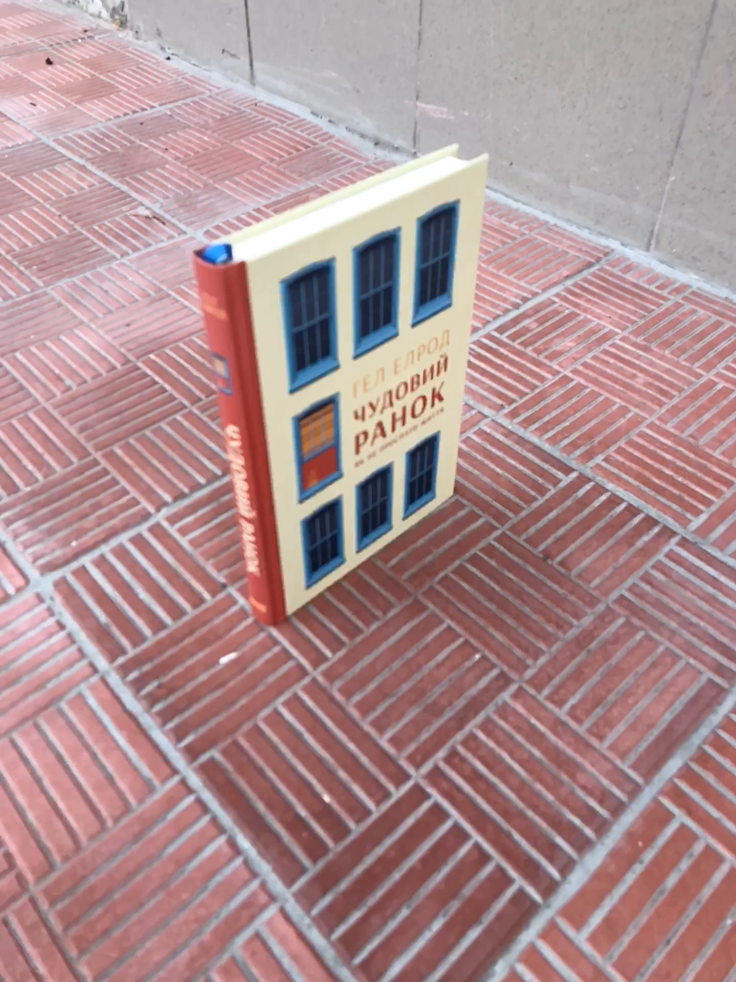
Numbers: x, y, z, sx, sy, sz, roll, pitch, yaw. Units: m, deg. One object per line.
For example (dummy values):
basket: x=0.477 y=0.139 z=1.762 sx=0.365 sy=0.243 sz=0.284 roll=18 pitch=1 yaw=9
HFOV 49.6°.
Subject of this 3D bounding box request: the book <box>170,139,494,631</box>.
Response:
book: x=-0.007 y=-0.042 z=0.374 sx=0.145 sy=0.196 sz=0.025 roll=-34 pitch=53 yaw=-29
